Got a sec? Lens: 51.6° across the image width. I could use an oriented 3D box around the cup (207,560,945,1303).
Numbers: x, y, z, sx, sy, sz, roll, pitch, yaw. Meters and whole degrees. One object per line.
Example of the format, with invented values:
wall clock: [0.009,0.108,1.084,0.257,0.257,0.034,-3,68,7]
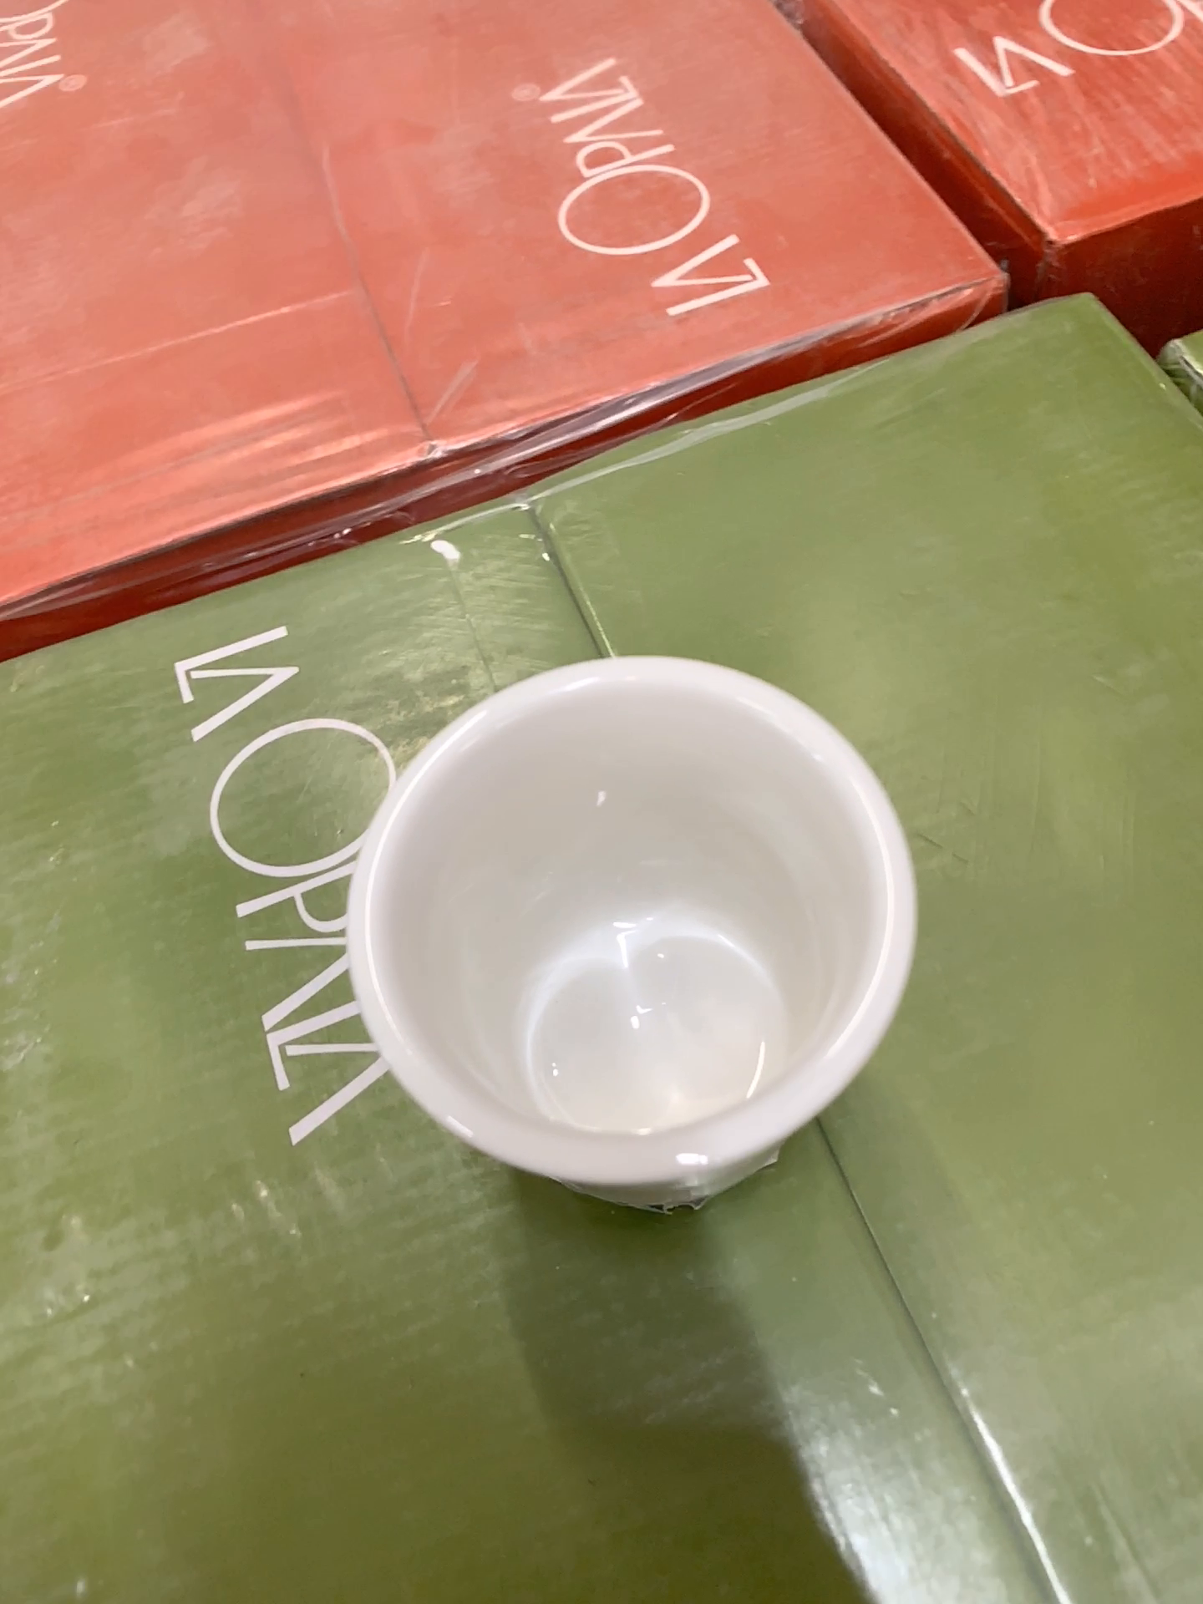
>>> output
cup: [0.003,0.018,0.170,0.070,0.060,0.070,-3,59,5]
